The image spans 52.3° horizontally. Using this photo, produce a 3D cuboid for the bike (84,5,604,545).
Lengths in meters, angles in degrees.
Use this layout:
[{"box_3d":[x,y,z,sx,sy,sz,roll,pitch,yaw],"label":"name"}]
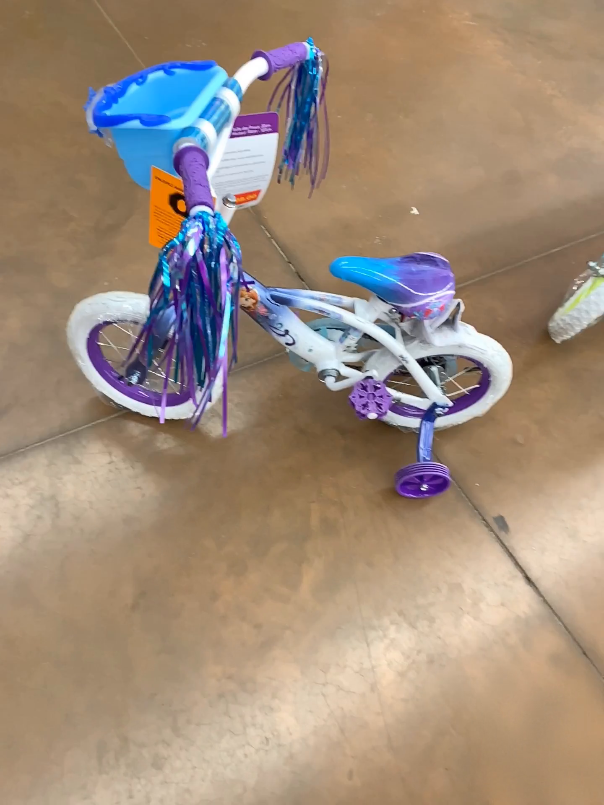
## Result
[{"box_3d":[0.093,-0.136,0.978,0.651,0.643,0.474,2,56,-10],"label":"bike"}]
